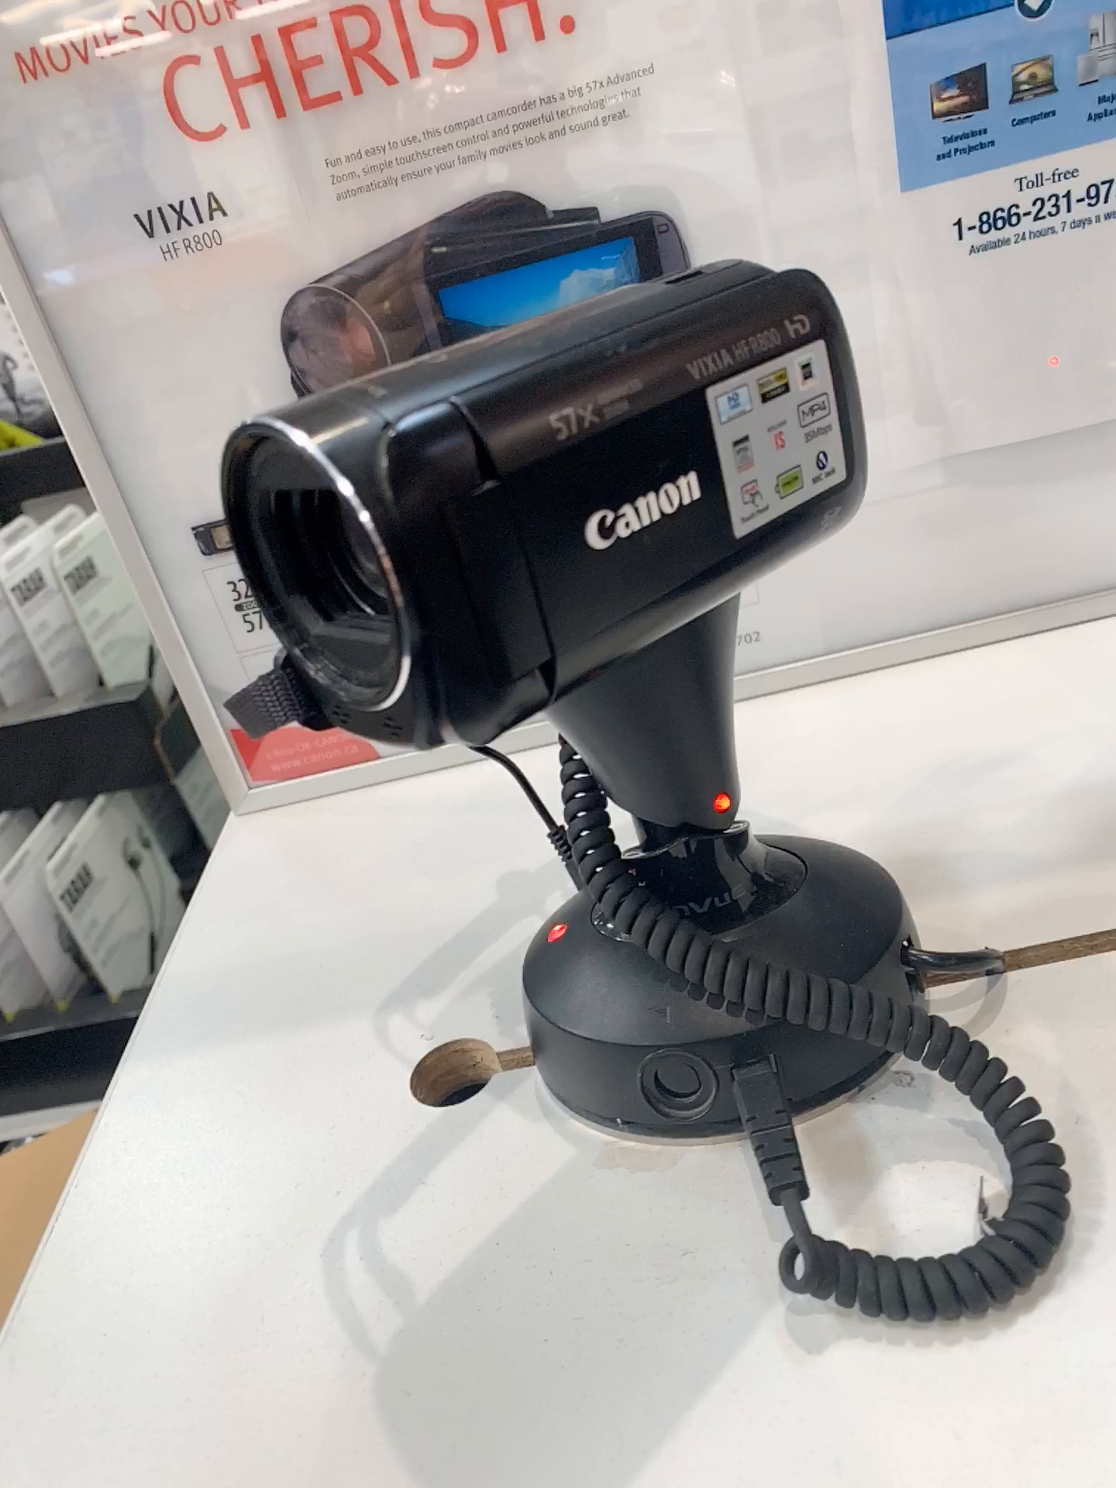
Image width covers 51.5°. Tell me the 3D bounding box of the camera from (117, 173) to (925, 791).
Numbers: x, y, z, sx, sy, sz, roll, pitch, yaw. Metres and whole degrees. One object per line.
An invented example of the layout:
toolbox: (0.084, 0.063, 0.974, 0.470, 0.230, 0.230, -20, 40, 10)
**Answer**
camera: (0.001, -0.049, 0.190, 0.113, 0.054, 0.058, -32, 31, -33)
